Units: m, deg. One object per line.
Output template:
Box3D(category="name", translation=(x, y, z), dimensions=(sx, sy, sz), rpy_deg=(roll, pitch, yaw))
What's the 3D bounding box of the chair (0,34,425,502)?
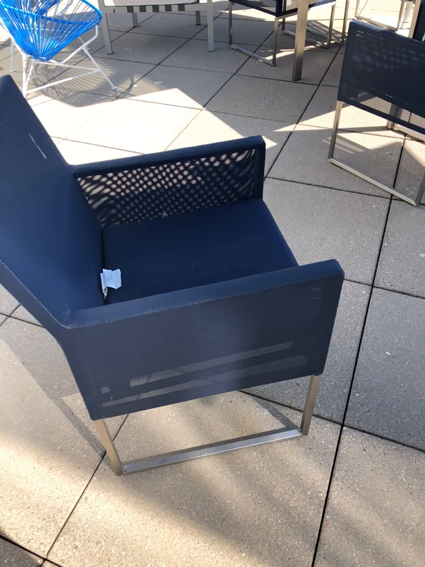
Box3D(category="chair", translation=(-0.079, -0.039, 1.106), dimensions=(0.670, 0.776, 0.653), rpy_deg=(-9, 44, -7))
